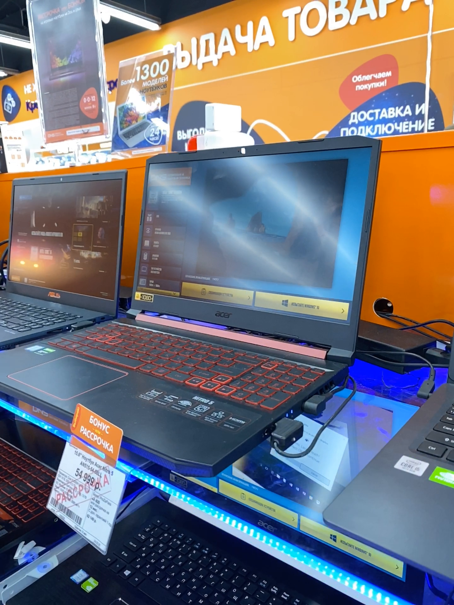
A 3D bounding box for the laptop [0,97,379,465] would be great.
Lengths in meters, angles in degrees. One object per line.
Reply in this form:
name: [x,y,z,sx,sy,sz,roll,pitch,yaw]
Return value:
laptop: [-0.069,-0.053,0.517,0.361,0.237,0.302,8,15,36]
